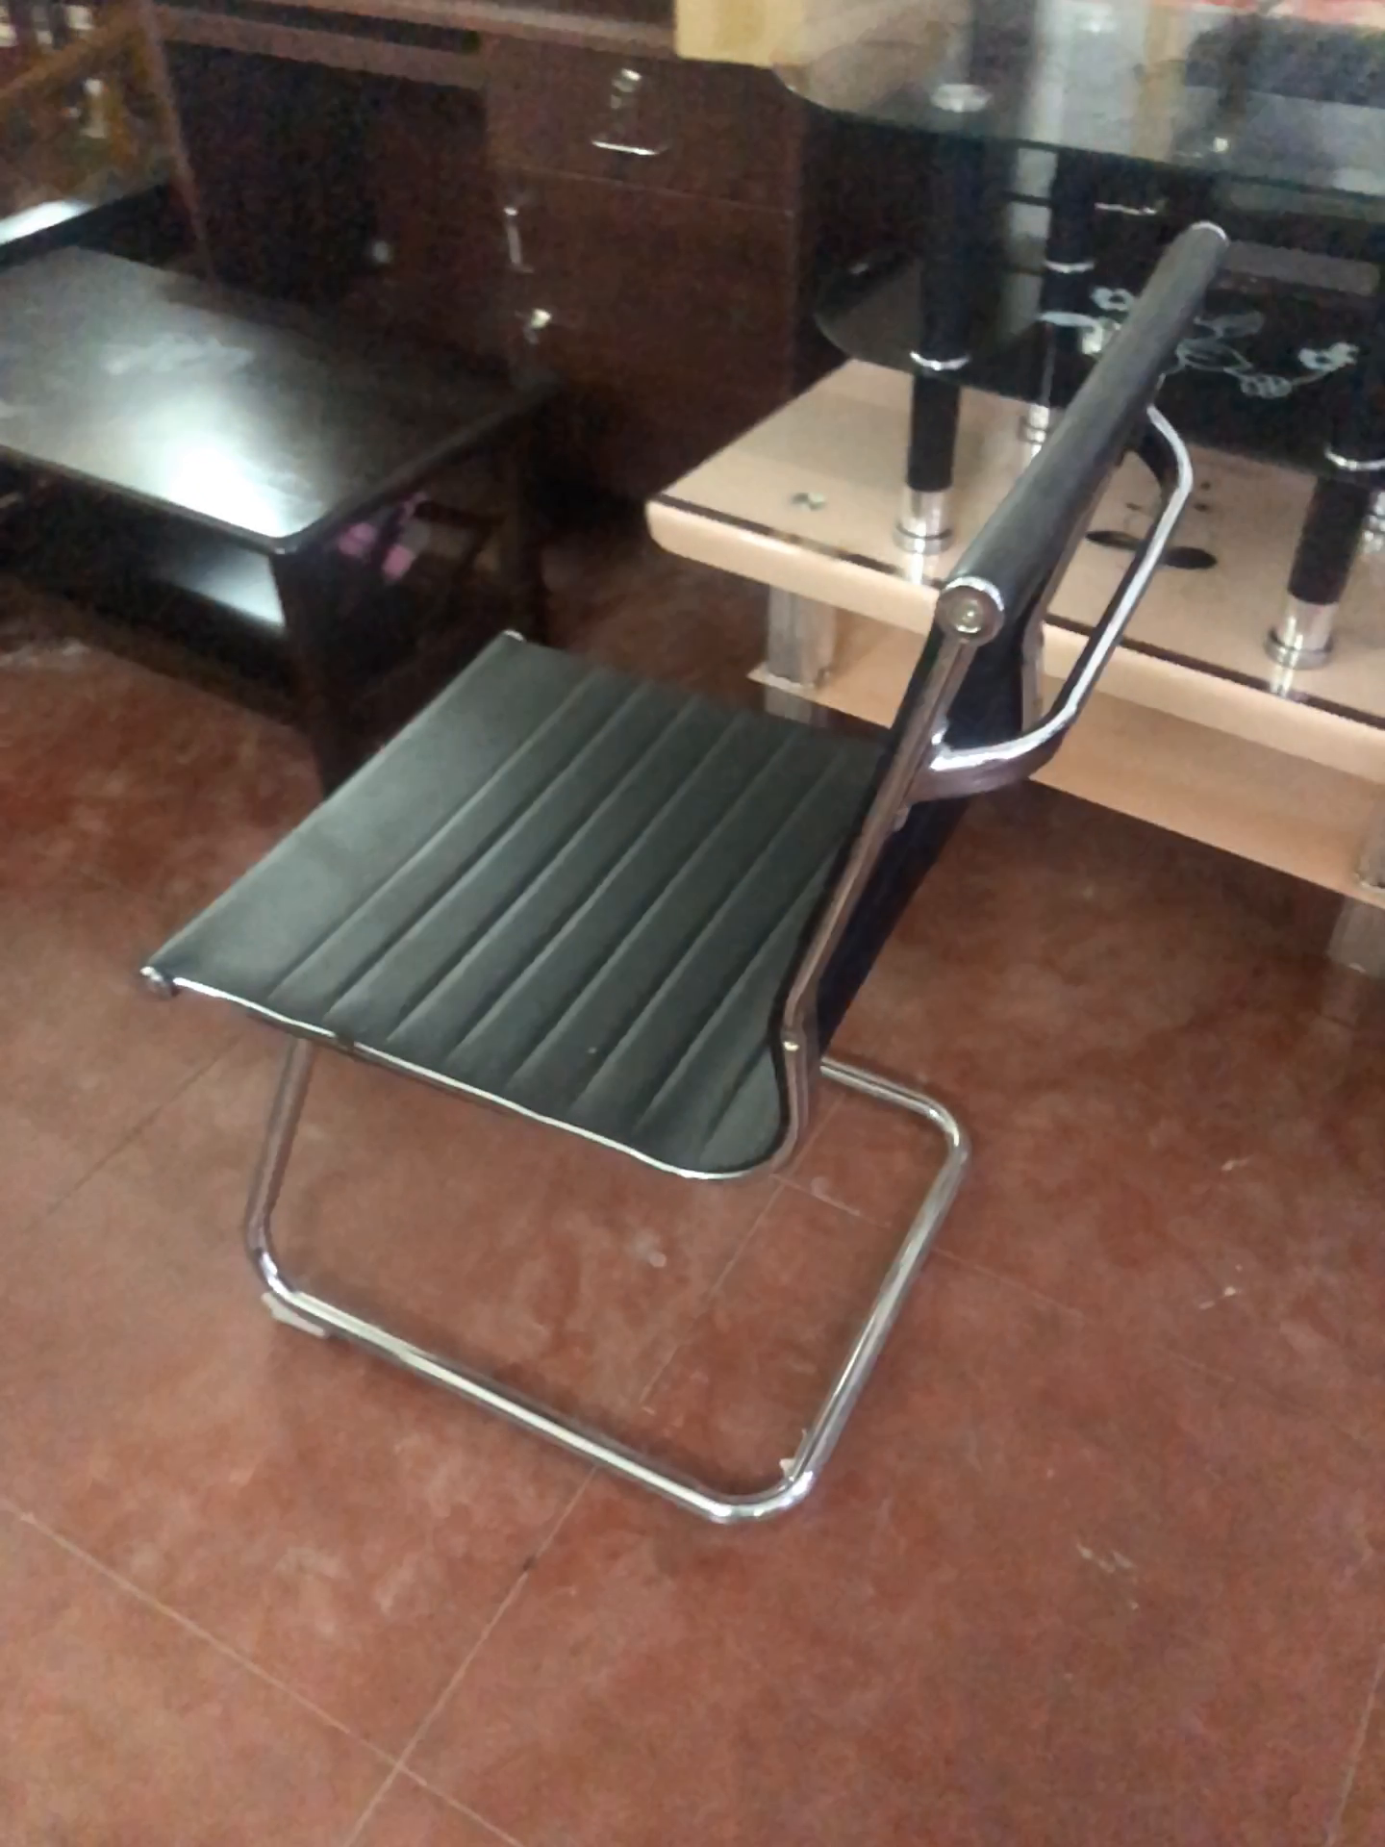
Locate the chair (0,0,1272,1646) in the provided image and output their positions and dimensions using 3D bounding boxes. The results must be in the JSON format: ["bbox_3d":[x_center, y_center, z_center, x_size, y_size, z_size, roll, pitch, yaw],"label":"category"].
[{"bbox_3d":[-0.096,-0.092,1.093,0.680,0.856,0.593,19,46,20],"label":"chair"}]
